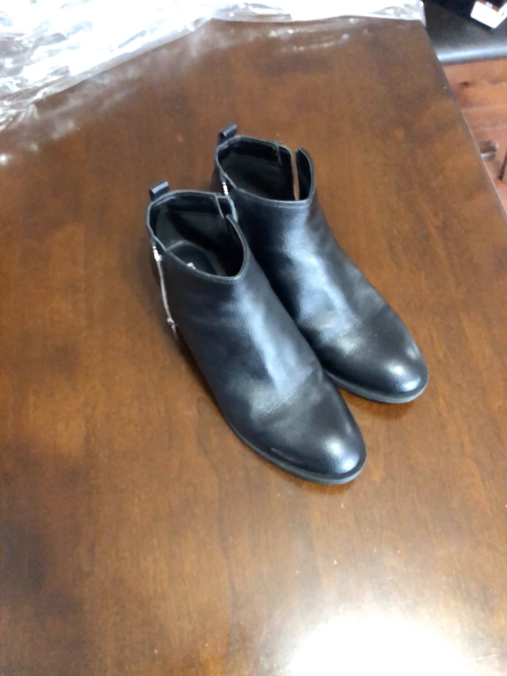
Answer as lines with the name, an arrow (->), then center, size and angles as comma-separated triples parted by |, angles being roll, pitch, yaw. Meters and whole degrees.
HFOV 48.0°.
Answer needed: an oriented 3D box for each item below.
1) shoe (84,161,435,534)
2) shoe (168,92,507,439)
shoe -> -0.005, 0.007, 0.450 | 0.100, 0.130, 0.260 | -36, 68, -16
shoe -> 0.057, -0.061, 0.476 | 0.100, 0.130, 0.260 | -39, 69, -17
